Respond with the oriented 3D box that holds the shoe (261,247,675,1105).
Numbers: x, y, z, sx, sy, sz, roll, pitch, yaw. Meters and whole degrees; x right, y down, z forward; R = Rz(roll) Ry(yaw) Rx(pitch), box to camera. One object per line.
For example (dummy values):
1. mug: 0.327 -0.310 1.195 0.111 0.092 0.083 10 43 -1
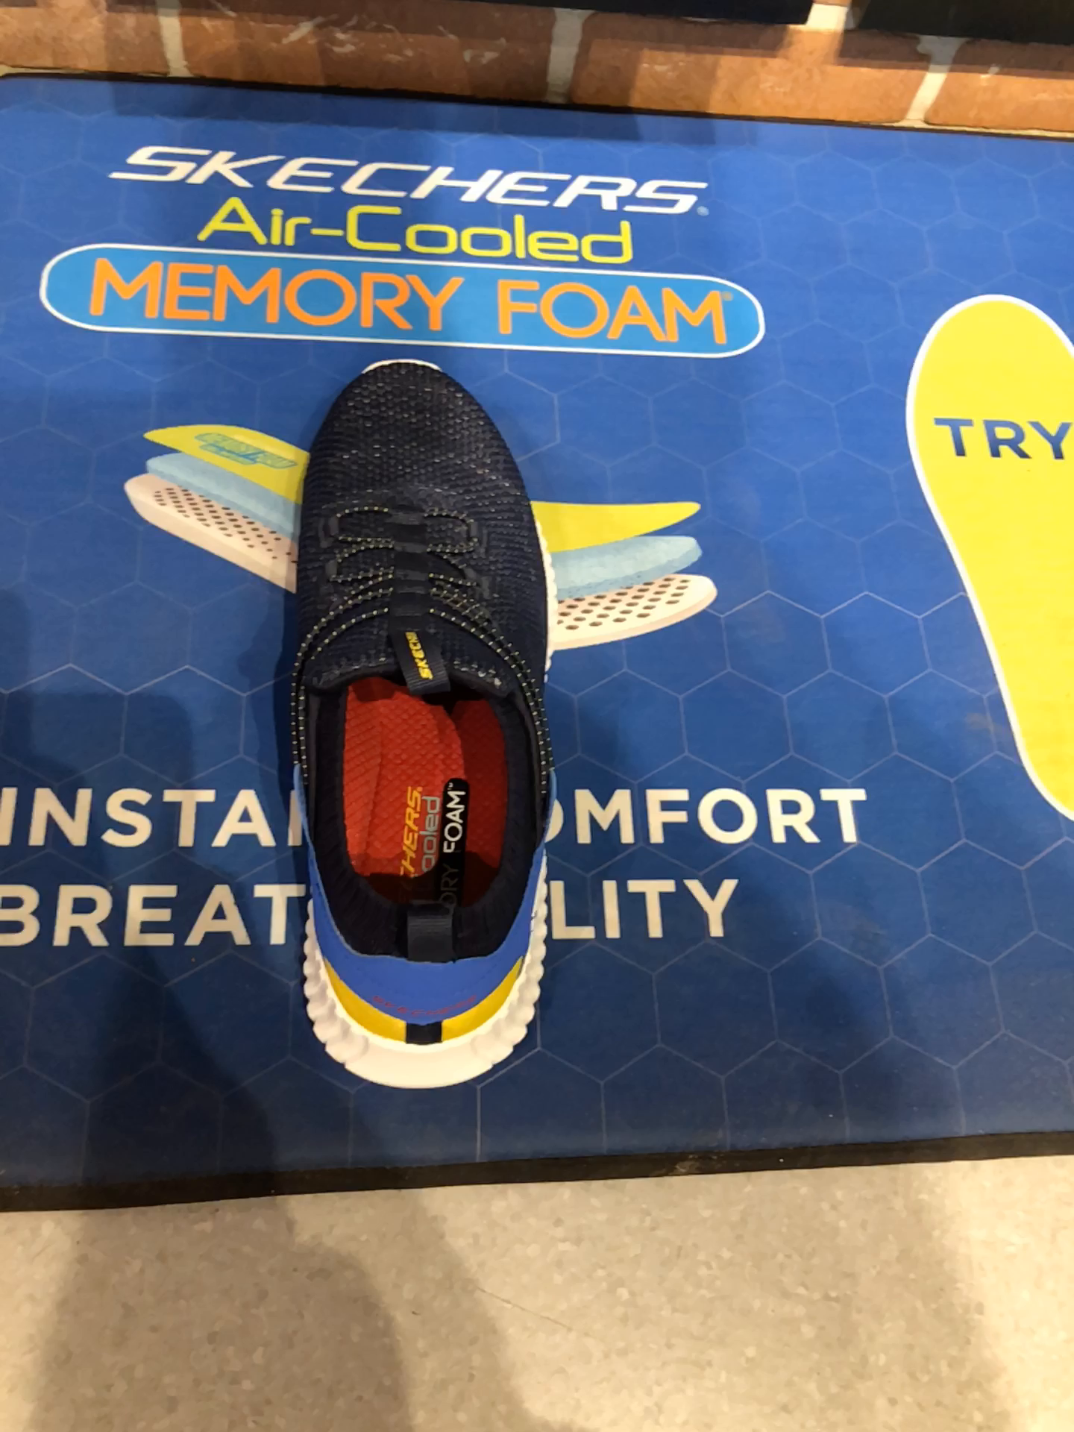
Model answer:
1. shoe: -0.035 -0.019 0.419 0.111 0.103 0.280 -2 67 -8
